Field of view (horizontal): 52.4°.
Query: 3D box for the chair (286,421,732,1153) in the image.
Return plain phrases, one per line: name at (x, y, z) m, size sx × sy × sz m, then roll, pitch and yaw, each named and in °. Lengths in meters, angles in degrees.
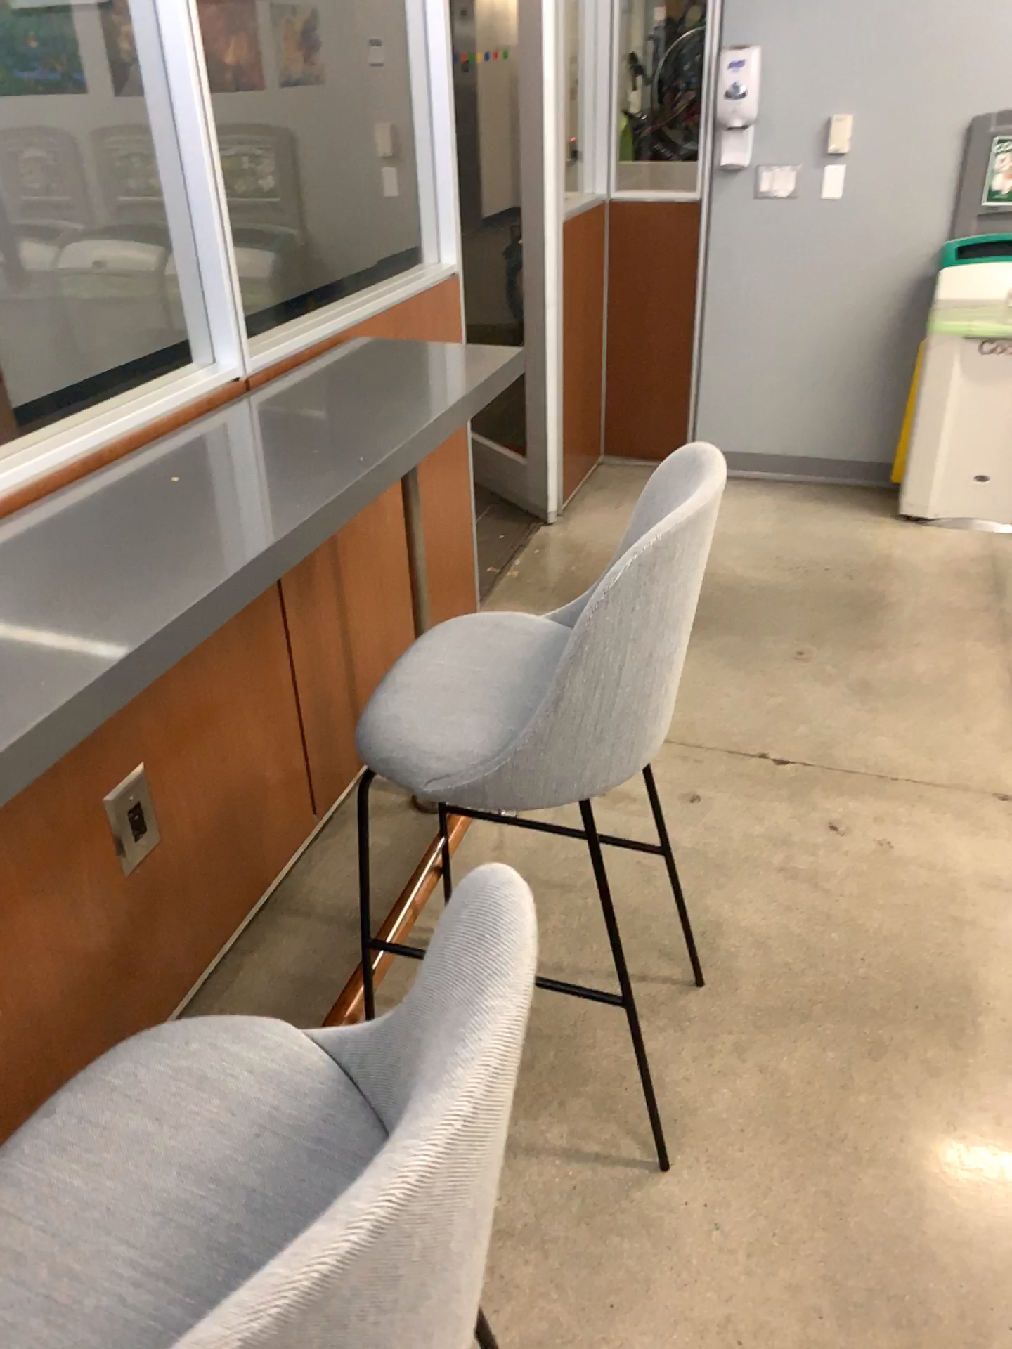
chair at (0.045, 0.188, 1.592) m, size 0.510 × 1.034 × 0.412 m, roll 4°, pitch 31°, yaw 10°
